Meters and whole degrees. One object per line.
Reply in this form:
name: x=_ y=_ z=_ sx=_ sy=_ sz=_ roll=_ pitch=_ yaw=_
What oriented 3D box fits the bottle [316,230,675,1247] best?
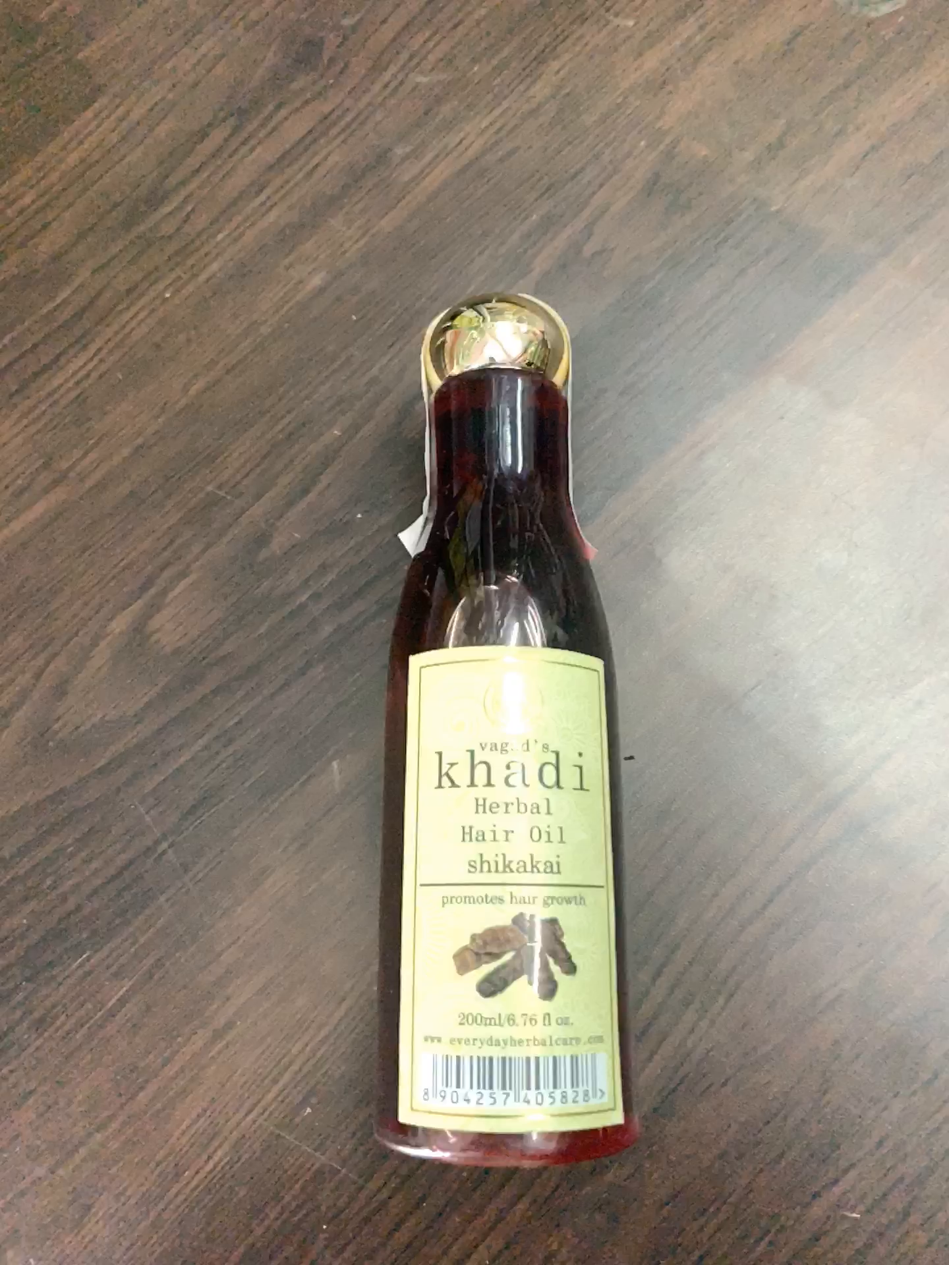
bottle: x=0.005 y=0.012 z=0.187 sx=0.050 sy=0.050 sz=0.170 roll=0 pitch=72 yaw=3
